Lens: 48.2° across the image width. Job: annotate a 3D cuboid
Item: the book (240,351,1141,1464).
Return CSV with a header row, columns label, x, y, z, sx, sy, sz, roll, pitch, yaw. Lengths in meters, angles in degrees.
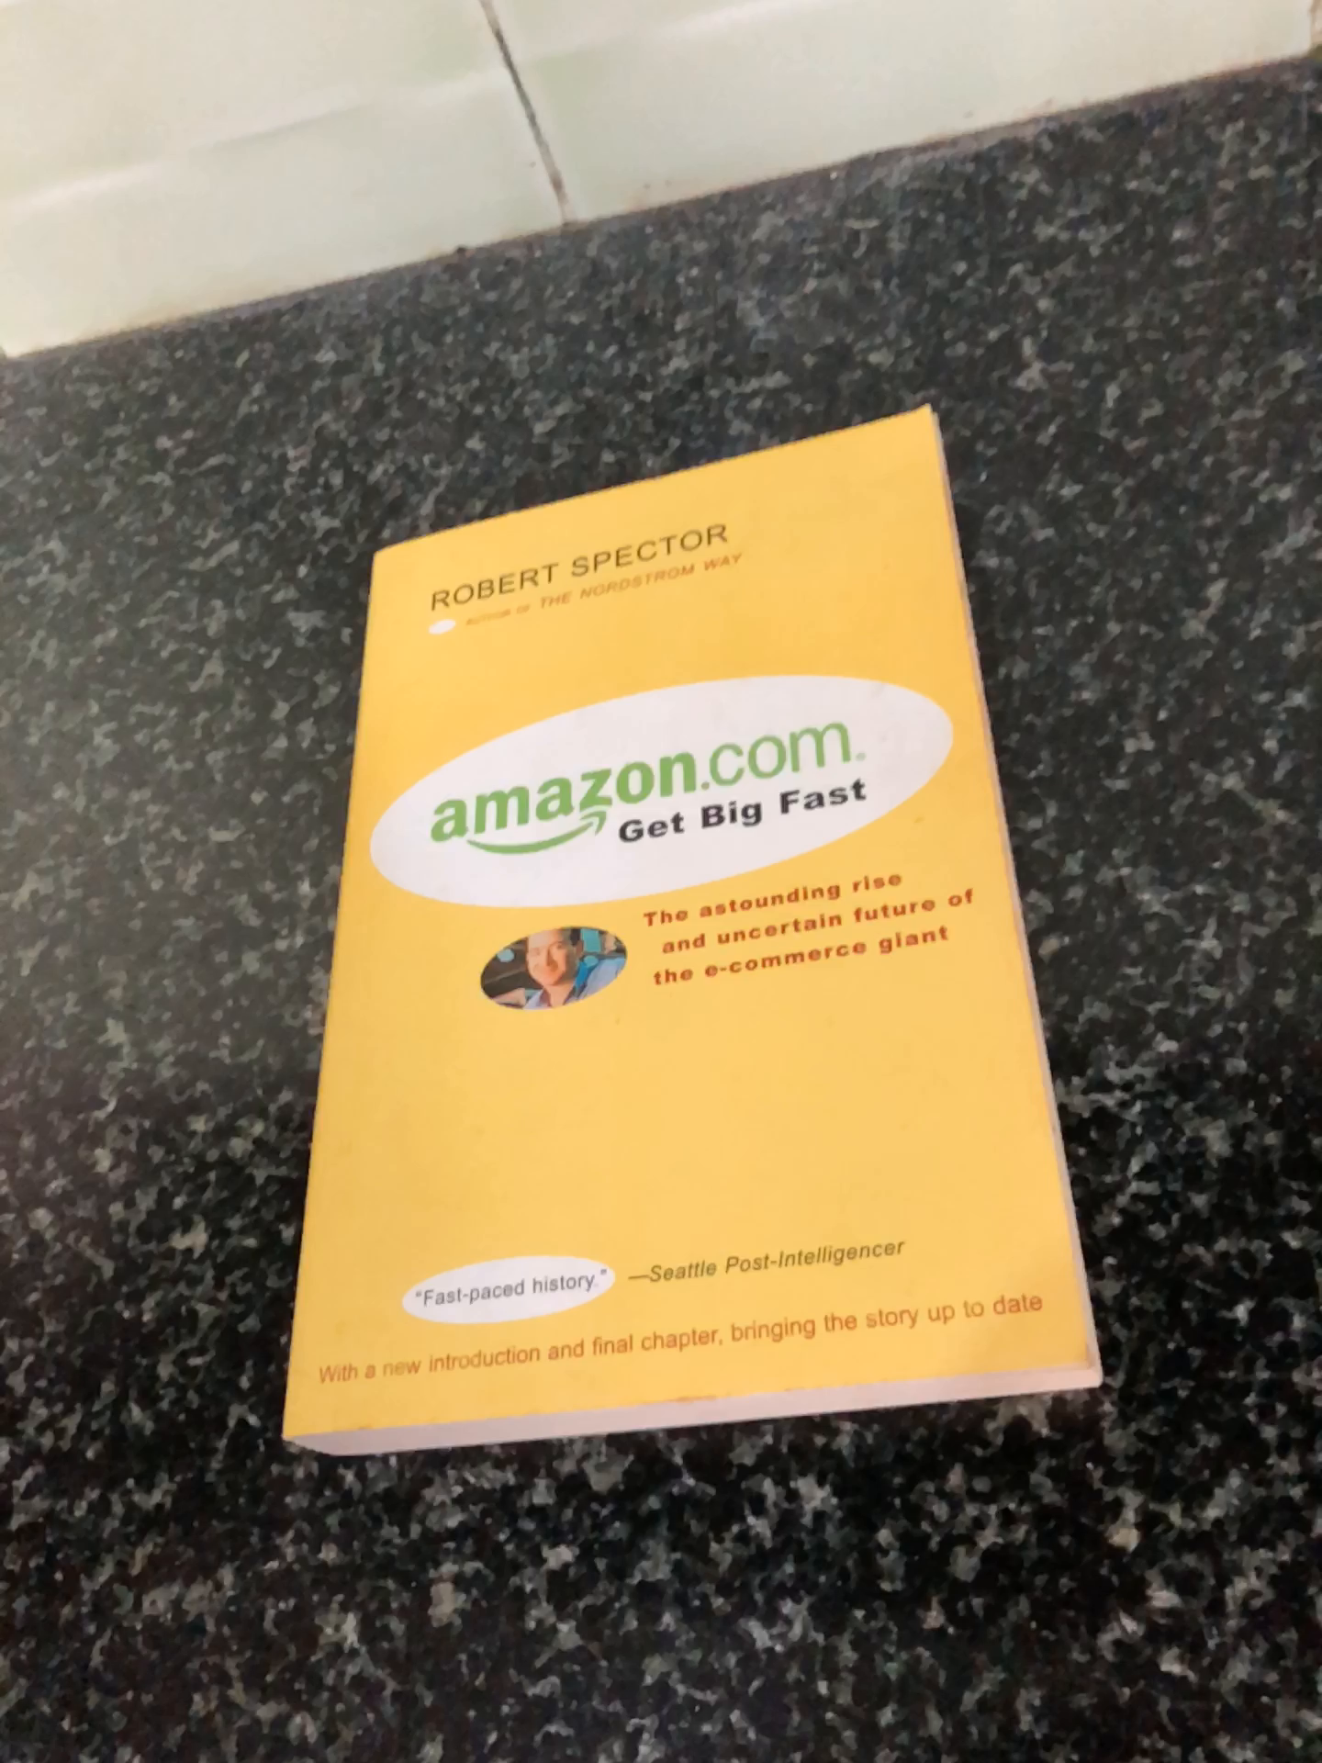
label,x,y,z,sx,sy,sz,roll,pitch,yaw
book,0.001,-0.005,0.290,0.140,0.030,0.210,-10,57,13
